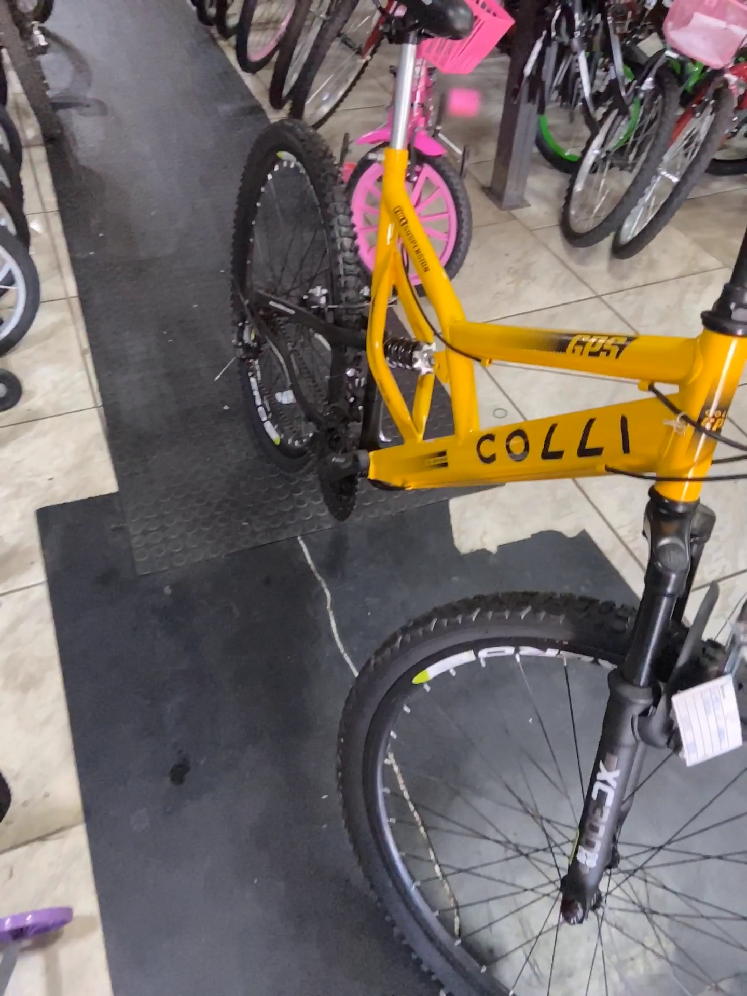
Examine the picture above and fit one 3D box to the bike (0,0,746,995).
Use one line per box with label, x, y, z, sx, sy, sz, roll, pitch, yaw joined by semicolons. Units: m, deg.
bike;0.077;-0.179;0.888;0.476;0.987;1.525;-21;50;-20
